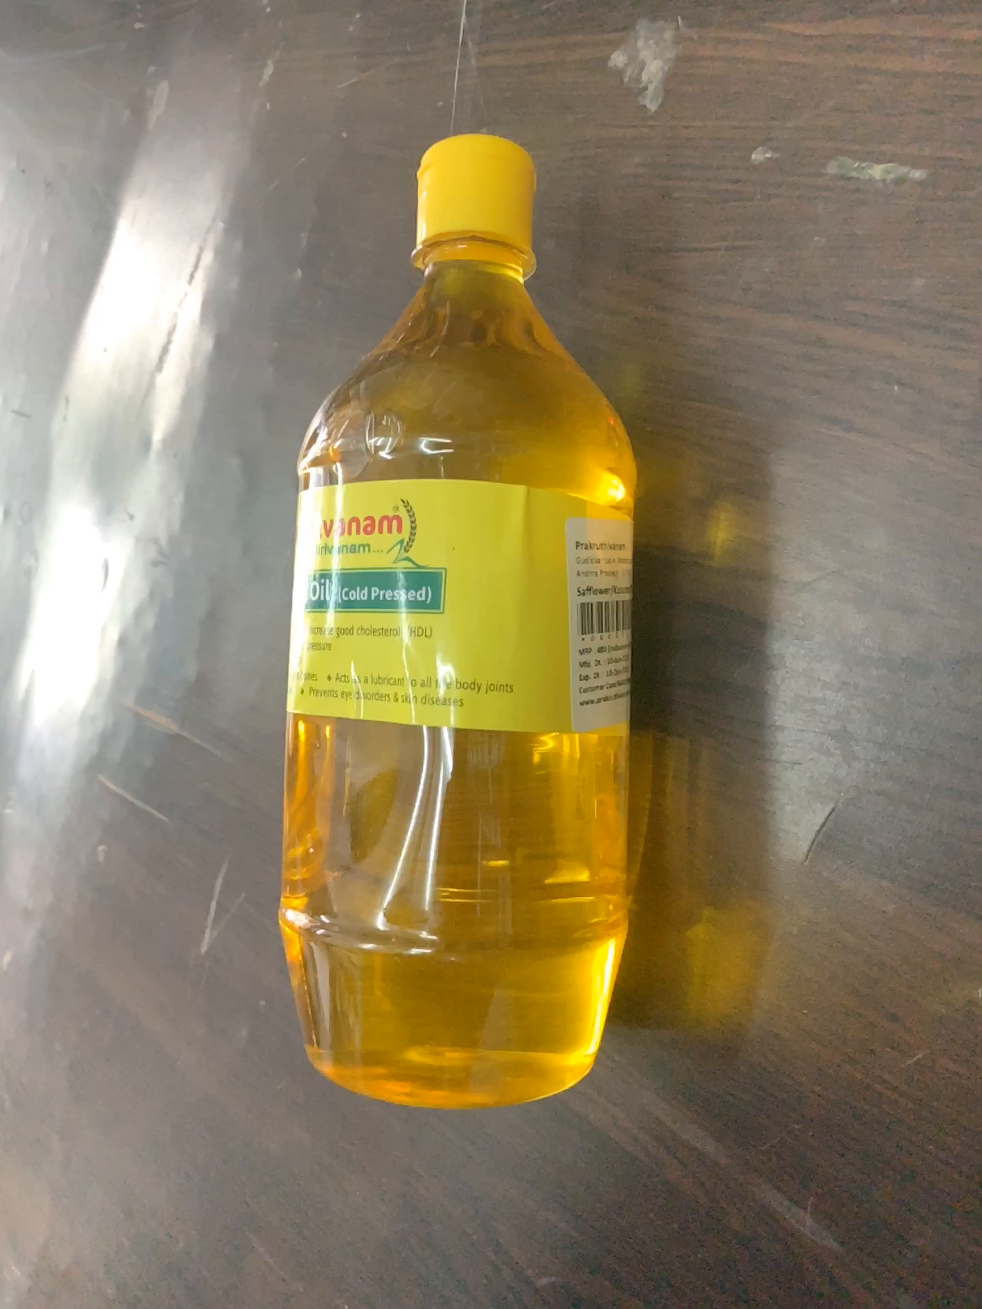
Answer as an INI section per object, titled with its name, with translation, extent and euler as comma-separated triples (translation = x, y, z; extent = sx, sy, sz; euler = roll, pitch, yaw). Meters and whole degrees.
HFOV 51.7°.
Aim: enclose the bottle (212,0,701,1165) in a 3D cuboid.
[bottle]
translation = -0.012, -0.019, 0.250
extent = 0.090, 0.080, 0.230
euler = 0, 89, 55
